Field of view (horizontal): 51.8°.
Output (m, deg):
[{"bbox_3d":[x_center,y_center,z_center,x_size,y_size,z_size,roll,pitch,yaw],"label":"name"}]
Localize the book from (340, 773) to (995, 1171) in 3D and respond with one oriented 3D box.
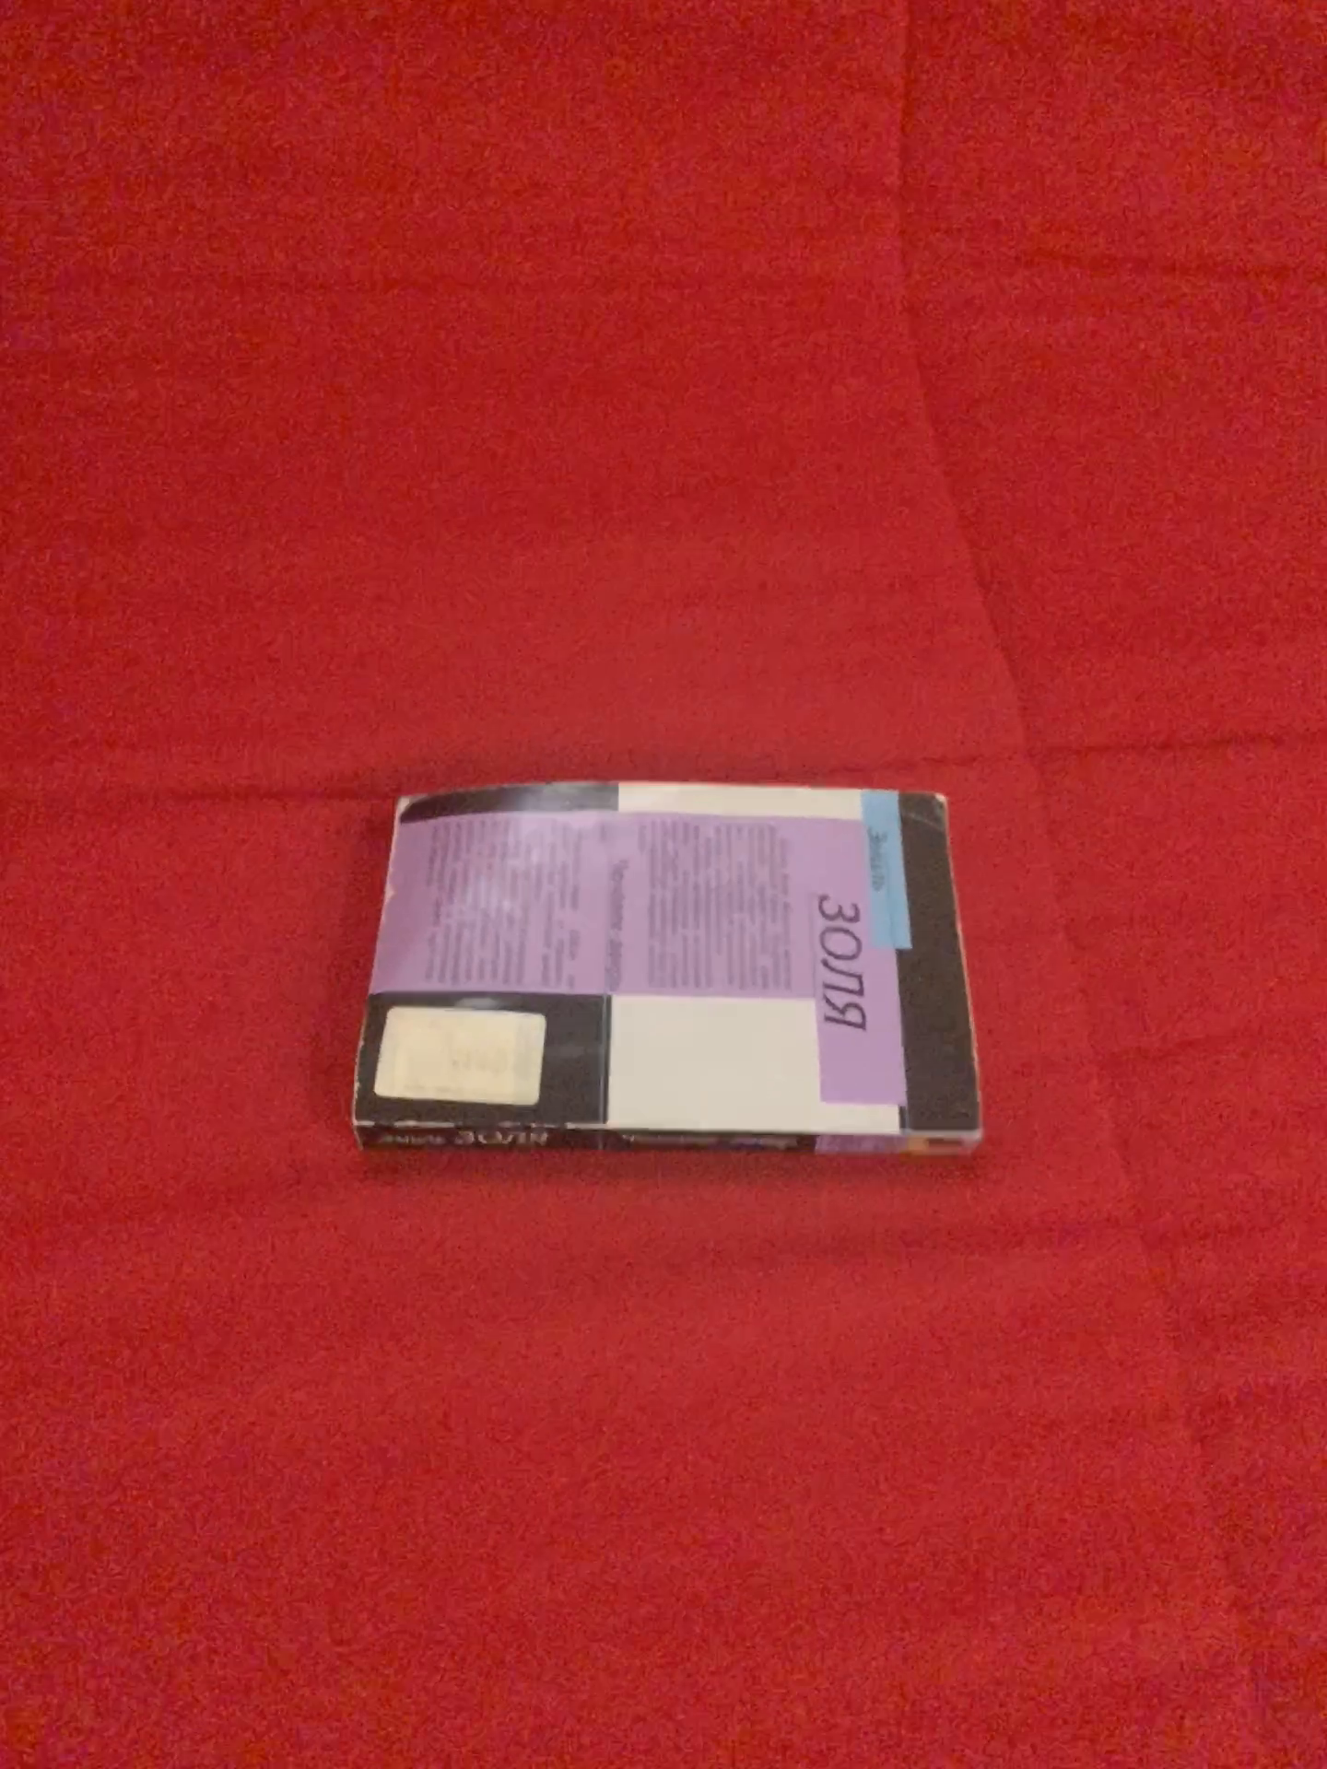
[{"bbox_3d":[0.001,0.024,0.398,0.170,0.033,0.109,1,59,-1],"label":"book"}]
